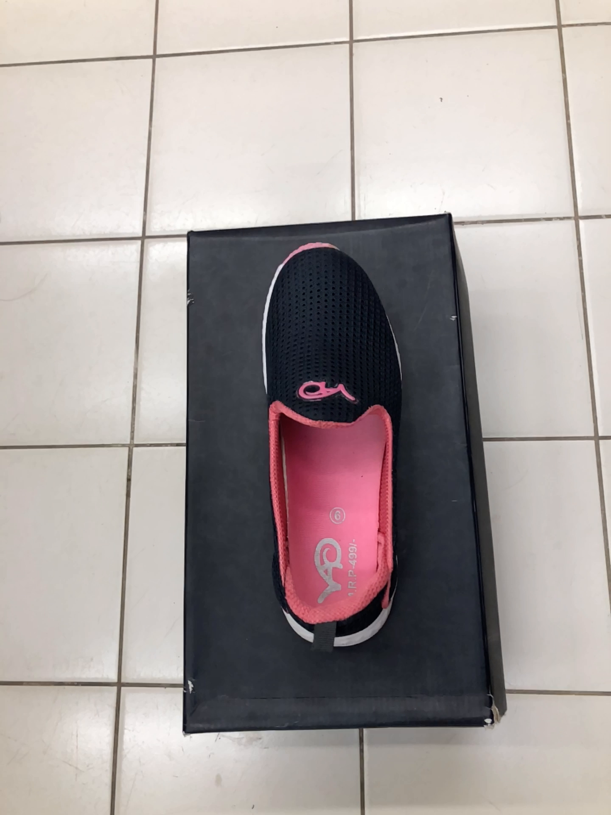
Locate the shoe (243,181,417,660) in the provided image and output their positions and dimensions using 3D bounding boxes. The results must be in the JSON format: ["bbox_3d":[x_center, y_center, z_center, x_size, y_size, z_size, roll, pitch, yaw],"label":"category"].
[{"bbox_3d":[0.015,0.009,0.427,0.090,0.100,0.270,-2,78,5],"label":"shoe"}]
